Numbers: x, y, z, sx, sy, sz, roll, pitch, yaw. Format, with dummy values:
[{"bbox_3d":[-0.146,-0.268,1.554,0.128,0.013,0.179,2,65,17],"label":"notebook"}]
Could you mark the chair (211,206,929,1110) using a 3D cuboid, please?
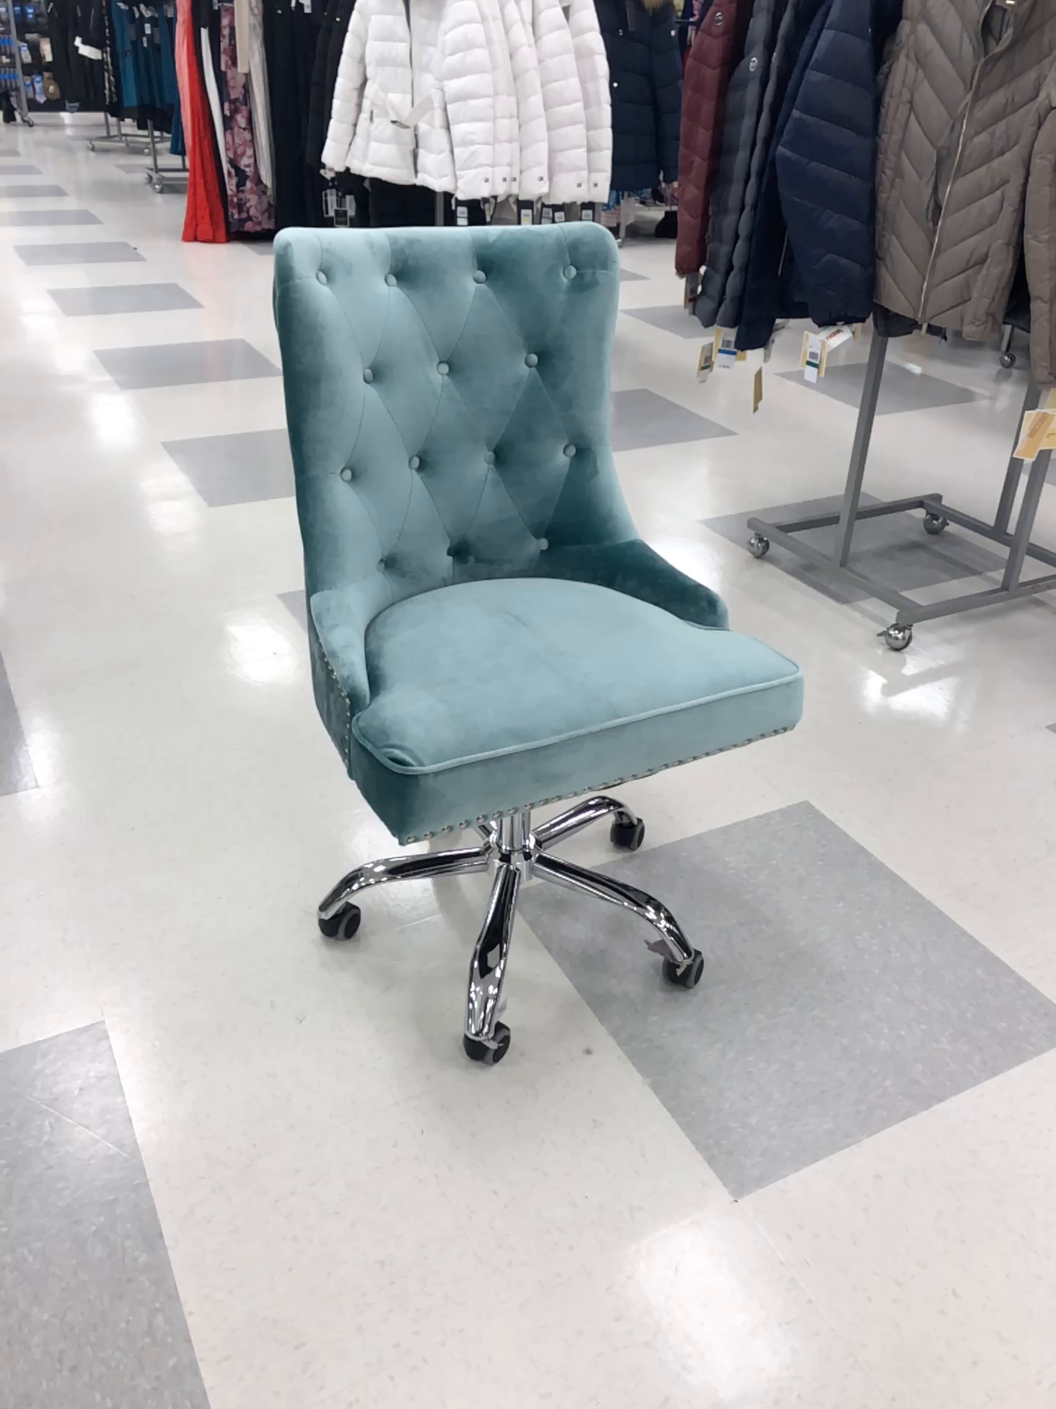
[{"bbox_3d":[-0.004,-0.109,1.538,0.598,0.934,0.607,-12,33,-24],"label":"chair"}]
